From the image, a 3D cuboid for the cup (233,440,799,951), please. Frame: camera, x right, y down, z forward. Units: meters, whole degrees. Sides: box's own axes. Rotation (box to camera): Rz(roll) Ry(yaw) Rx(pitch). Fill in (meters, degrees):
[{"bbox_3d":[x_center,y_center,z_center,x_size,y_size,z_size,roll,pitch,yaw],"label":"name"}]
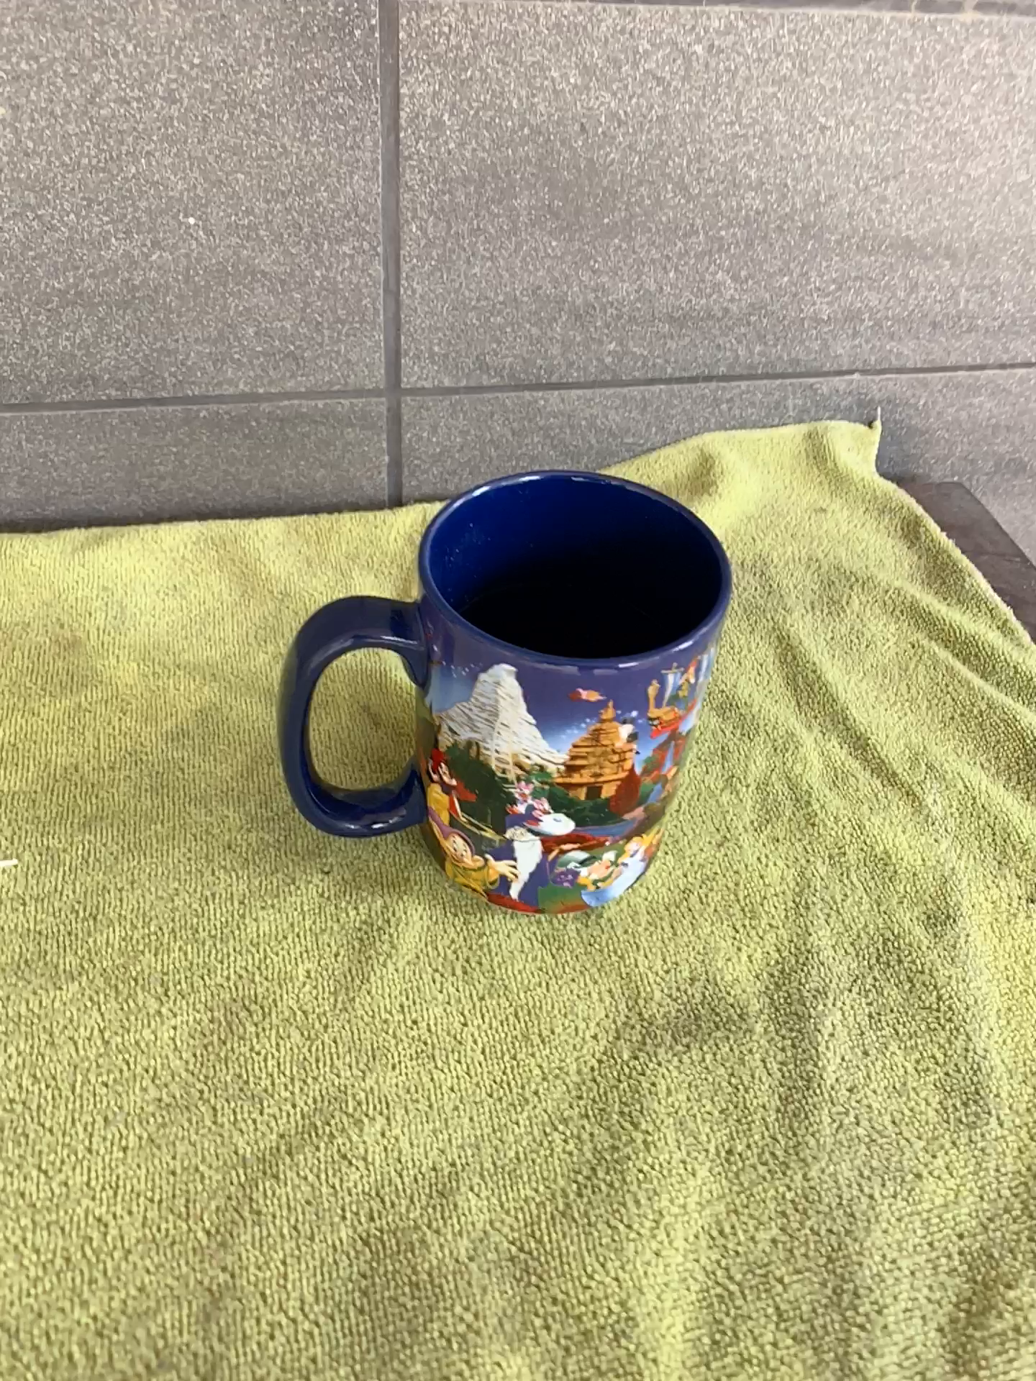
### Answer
[{"bbox_3d":[-0.009,0.001,0.311,0.130,0.110,0.090,-3,45,-9],"label":"cup"}]
